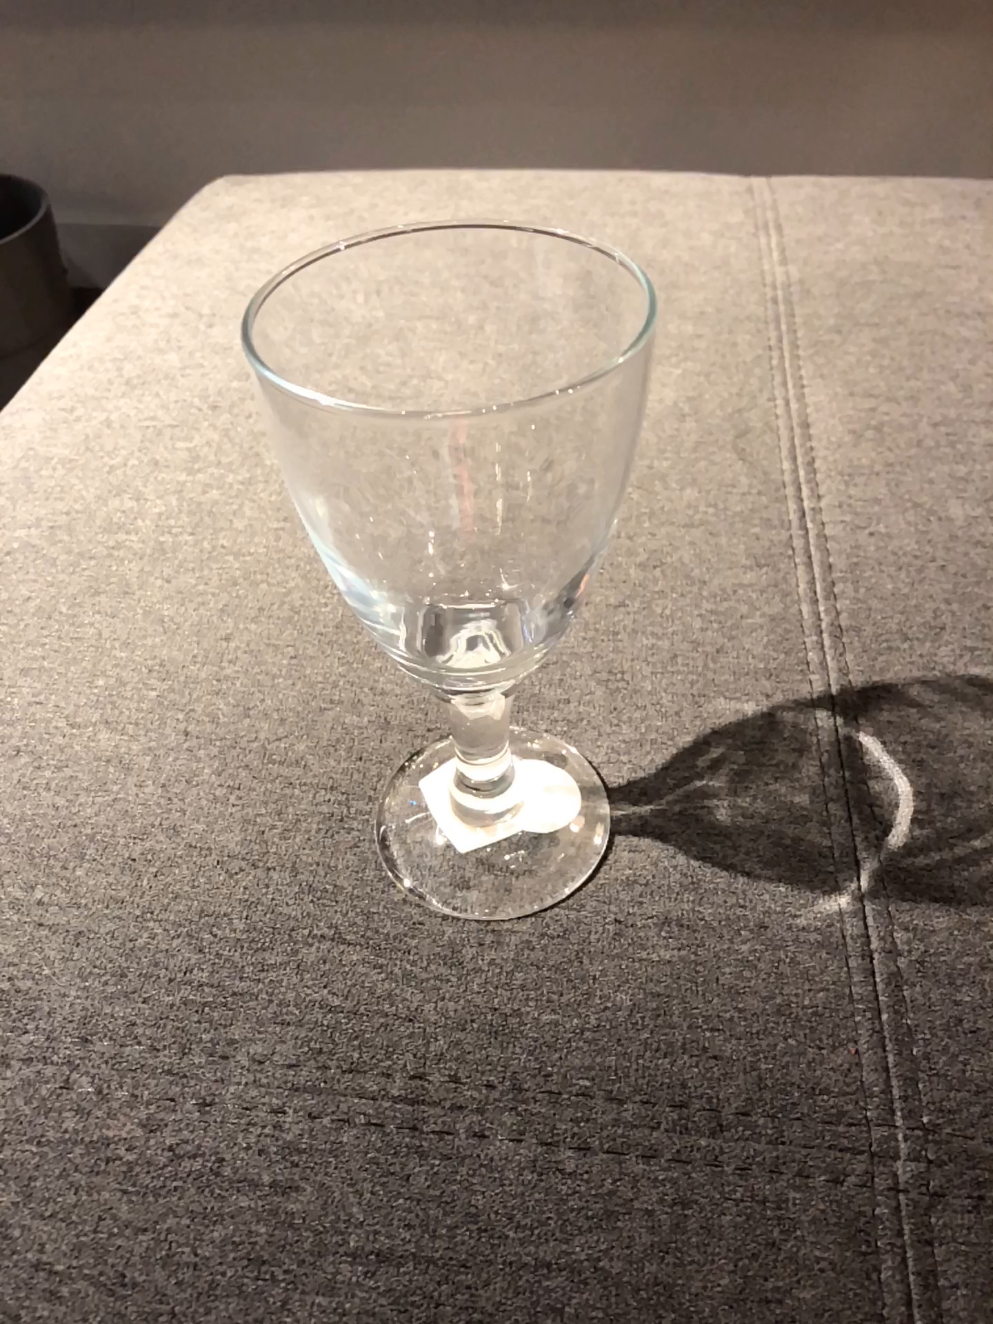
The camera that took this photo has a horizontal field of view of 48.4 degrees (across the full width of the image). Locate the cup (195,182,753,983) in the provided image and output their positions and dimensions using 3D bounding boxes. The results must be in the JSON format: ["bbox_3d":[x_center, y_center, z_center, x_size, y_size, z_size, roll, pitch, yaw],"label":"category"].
[{"bbox_3d":[-0.008,-0.013,0.281,0.090,0.169,0.090,-1,45,1],"label":"cup"}]
